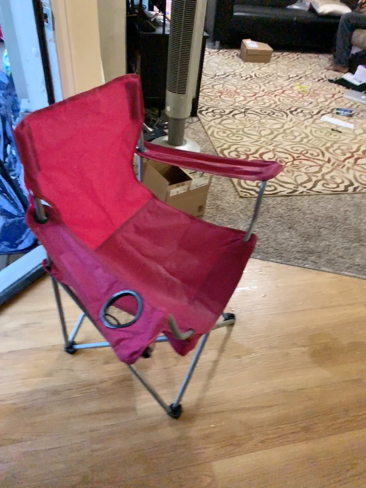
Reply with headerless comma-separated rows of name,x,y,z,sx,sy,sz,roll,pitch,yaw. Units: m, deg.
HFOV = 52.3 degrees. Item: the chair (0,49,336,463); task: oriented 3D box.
chair,-0.109,-0.009,1.081,0.671,0.777,0.652,26,45,21
